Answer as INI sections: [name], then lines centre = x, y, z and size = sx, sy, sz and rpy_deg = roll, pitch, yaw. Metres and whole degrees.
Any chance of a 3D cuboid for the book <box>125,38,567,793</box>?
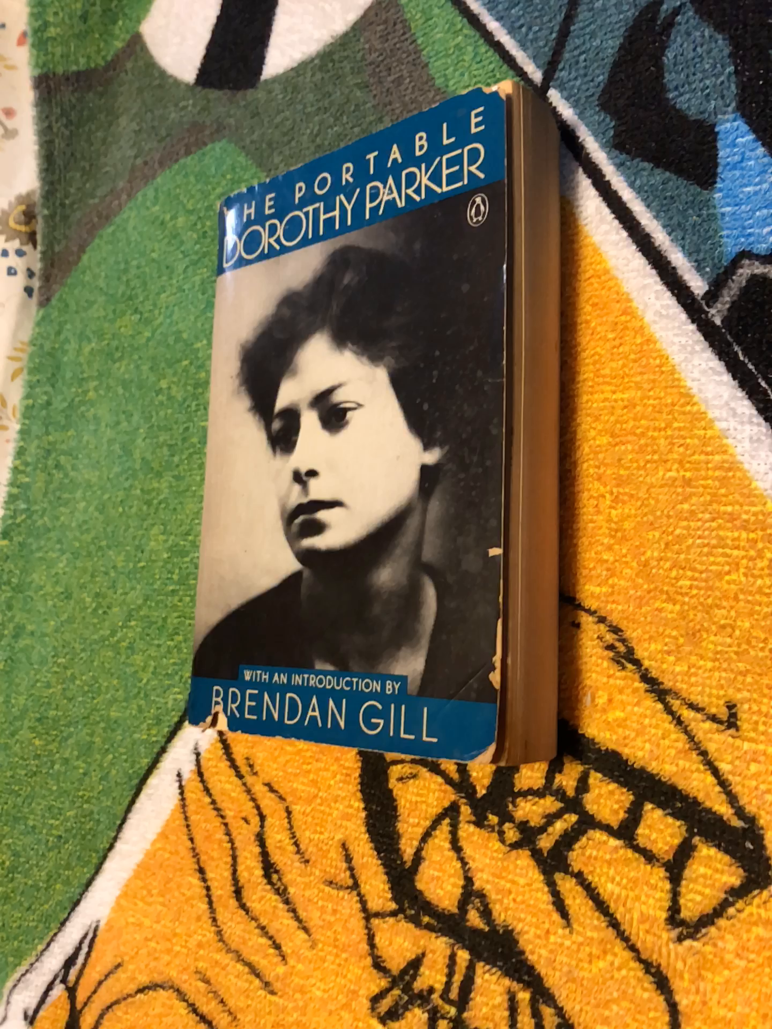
[book]
centre = -0.016, -0.025, 0.278
size = 0.140, 0.040, 0.200
rpy_deg = -4, 80, 35
